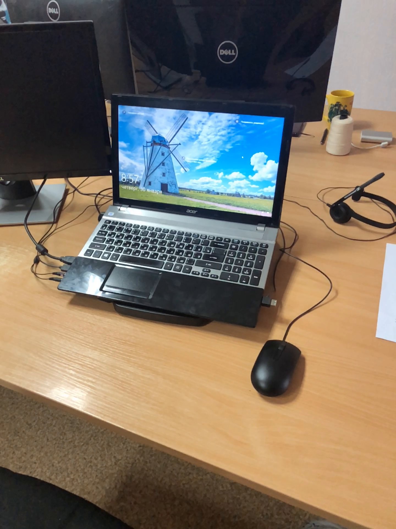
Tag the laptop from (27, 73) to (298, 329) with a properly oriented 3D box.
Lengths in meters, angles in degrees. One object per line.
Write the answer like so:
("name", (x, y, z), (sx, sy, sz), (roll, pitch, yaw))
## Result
("laptop", (-0.038, -0.144, 0.808), (0.373, 0.211, 0.361), (9, 48, 14))
